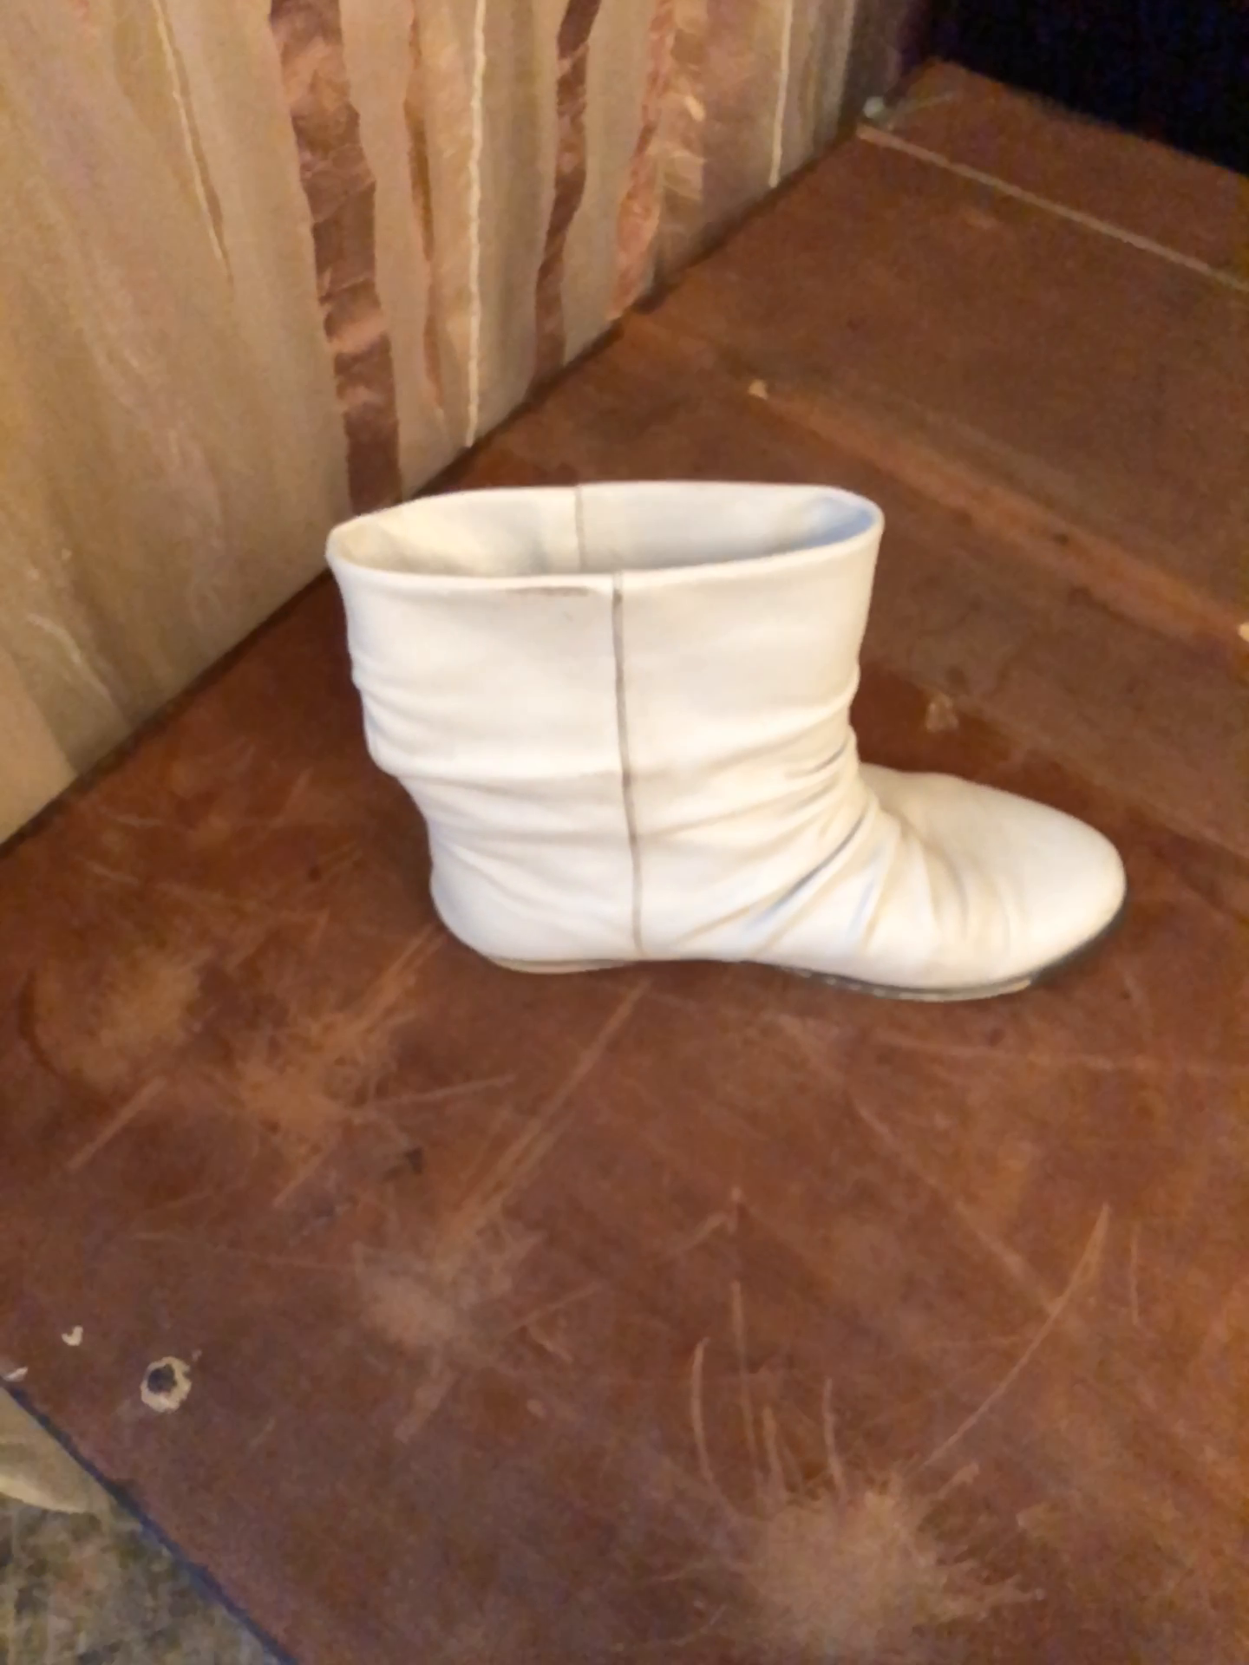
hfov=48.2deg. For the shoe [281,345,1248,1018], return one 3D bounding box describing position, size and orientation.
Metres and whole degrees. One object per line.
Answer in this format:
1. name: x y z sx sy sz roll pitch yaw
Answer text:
1. shoe: 0.044 -0.035 0.415 0.240 0.169 0.100 4 57 2
